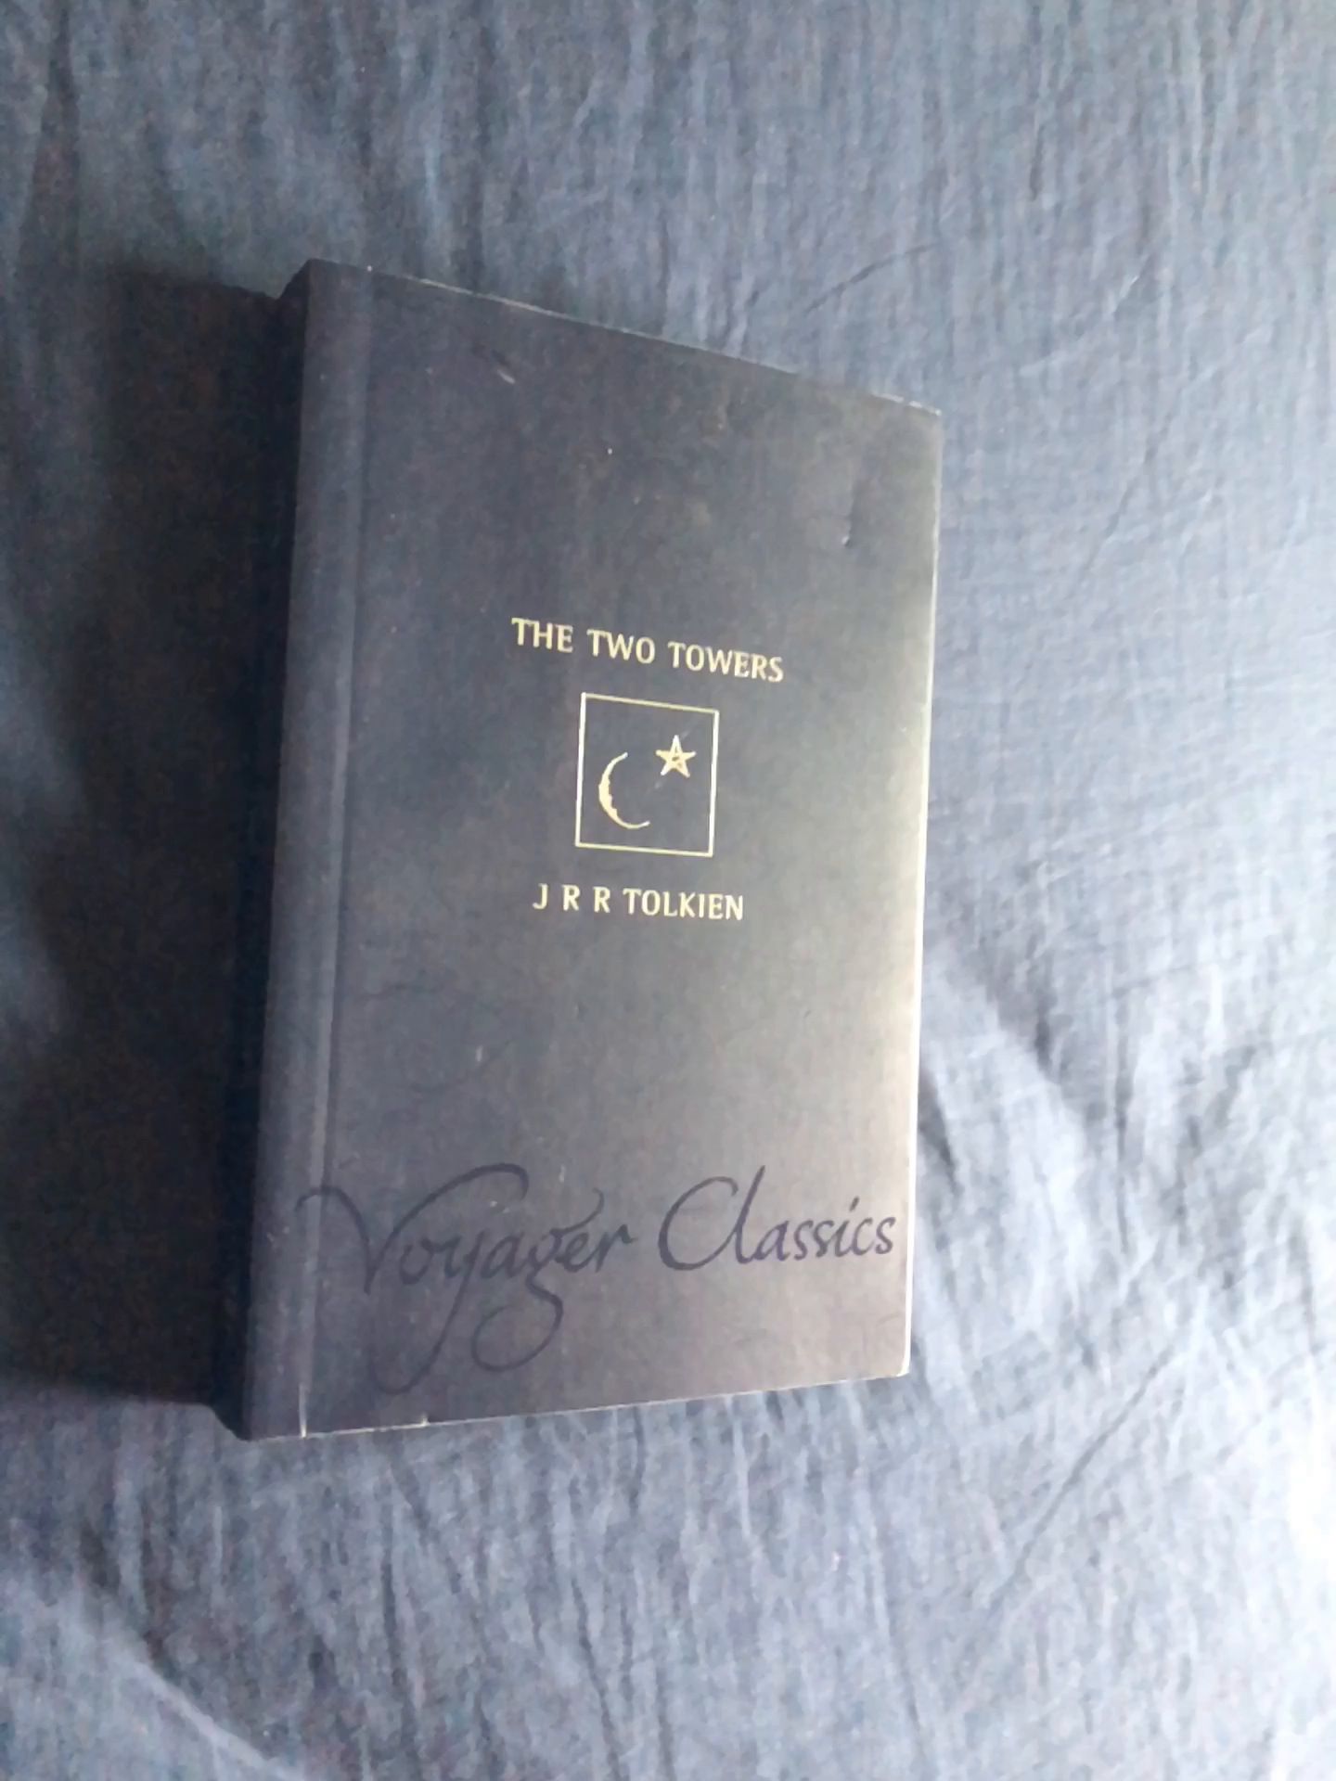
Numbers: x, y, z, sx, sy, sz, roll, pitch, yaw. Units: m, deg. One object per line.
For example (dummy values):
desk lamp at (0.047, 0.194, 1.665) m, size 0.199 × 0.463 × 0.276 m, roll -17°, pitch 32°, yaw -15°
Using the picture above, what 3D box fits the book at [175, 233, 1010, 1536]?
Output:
book at (-0.011, 0.000, 0.276) m, size 0.140 × 0.060 × 0.190 m, roll 2°, pitch 88°, yaw -30°
